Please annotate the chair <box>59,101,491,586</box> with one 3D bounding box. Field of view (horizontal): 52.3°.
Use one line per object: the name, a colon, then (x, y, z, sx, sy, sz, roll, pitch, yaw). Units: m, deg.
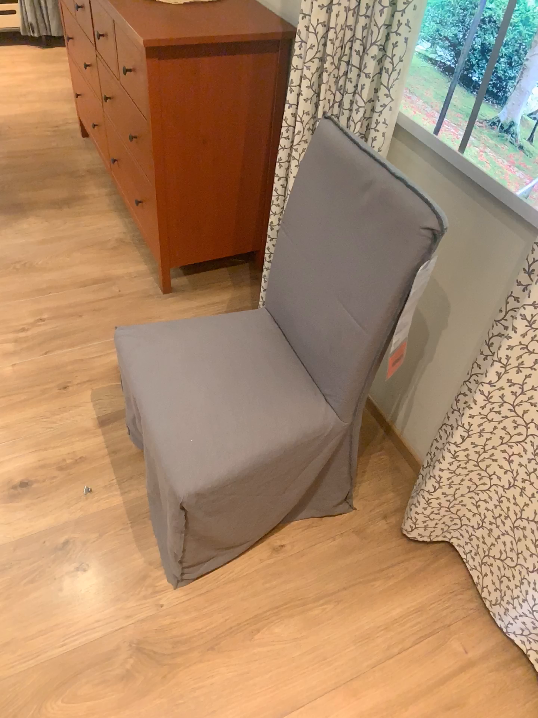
chair: (-0.060, -0.022, 1.290, 0.590, 0.877, 0.572, -15, 49, -21)
